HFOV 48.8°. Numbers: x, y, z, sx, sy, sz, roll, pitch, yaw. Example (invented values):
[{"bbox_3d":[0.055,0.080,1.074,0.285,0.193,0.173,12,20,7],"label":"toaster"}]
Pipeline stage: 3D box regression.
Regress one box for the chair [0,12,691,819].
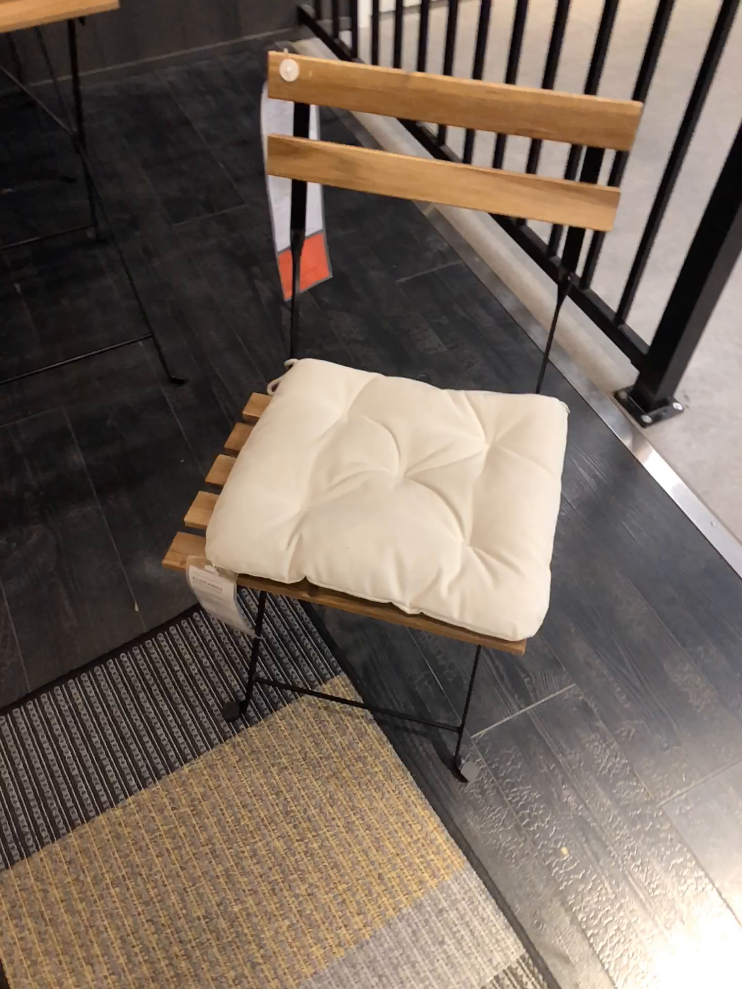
[{"bbox_3d":[0.009,-0.022,0.942,0.450,0.758,0.461,12,55,8],"label":"chair"}]
